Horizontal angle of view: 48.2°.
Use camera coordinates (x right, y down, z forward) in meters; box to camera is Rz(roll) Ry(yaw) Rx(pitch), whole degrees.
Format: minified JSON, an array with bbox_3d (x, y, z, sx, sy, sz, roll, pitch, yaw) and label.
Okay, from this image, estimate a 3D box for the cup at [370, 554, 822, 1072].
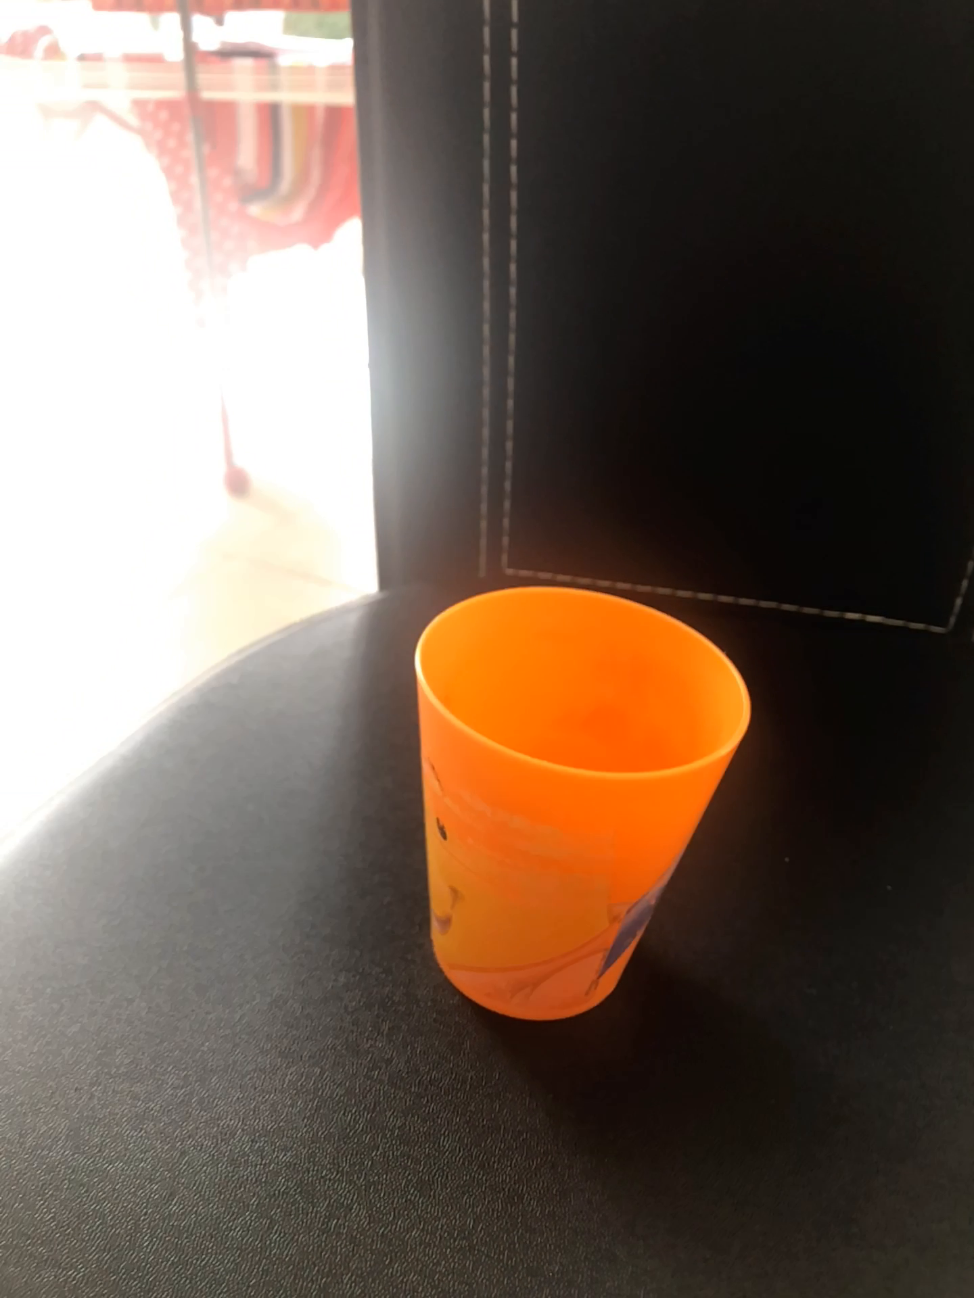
[{"bbox_3d":[0.019,0.038,0.282,0.080,0.089,0.080,4,32,-2],"label":"cup"}]
